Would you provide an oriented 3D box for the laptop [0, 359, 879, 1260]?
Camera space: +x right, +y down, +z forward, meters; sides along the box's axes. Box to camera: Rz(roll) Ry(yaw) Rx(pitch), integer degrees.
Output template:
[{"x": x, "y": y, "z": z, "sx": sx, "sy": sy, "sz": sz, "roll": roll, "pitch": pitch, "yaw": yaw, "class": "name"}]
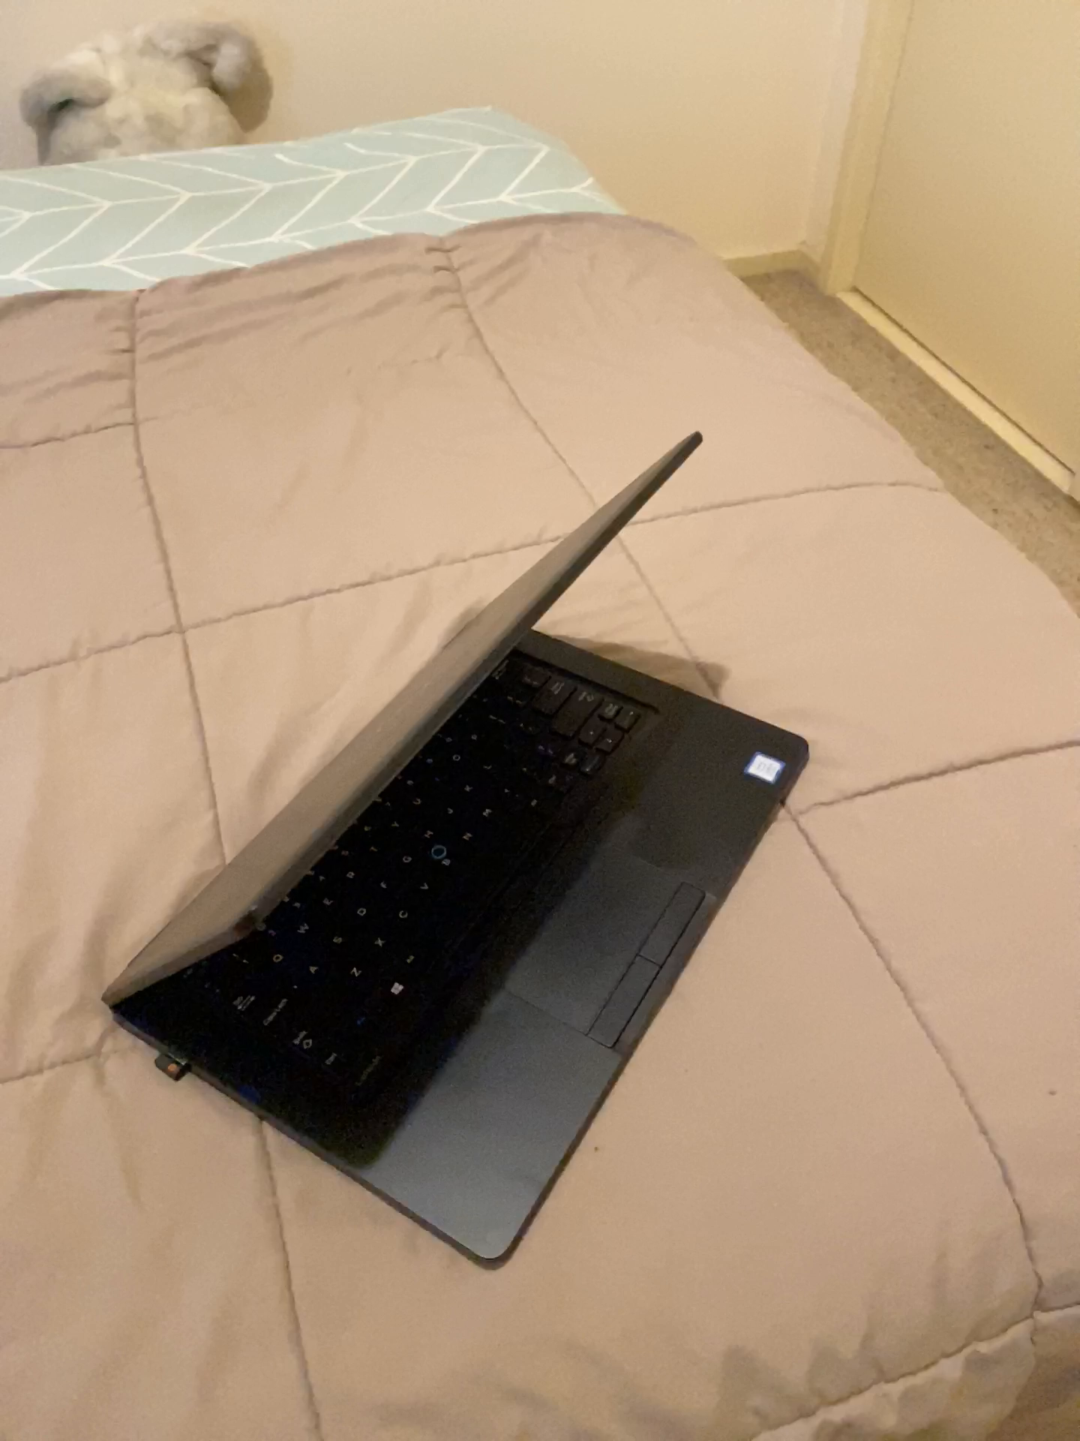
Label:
[{"x": -0.026, "y": 0.012, "z": 0.526, "sx": 0.226, "sy": 0.183, "sz": 0.335, "roll": 23, "pitch": 51, "yaw": 22, "class": "laptop"}]
